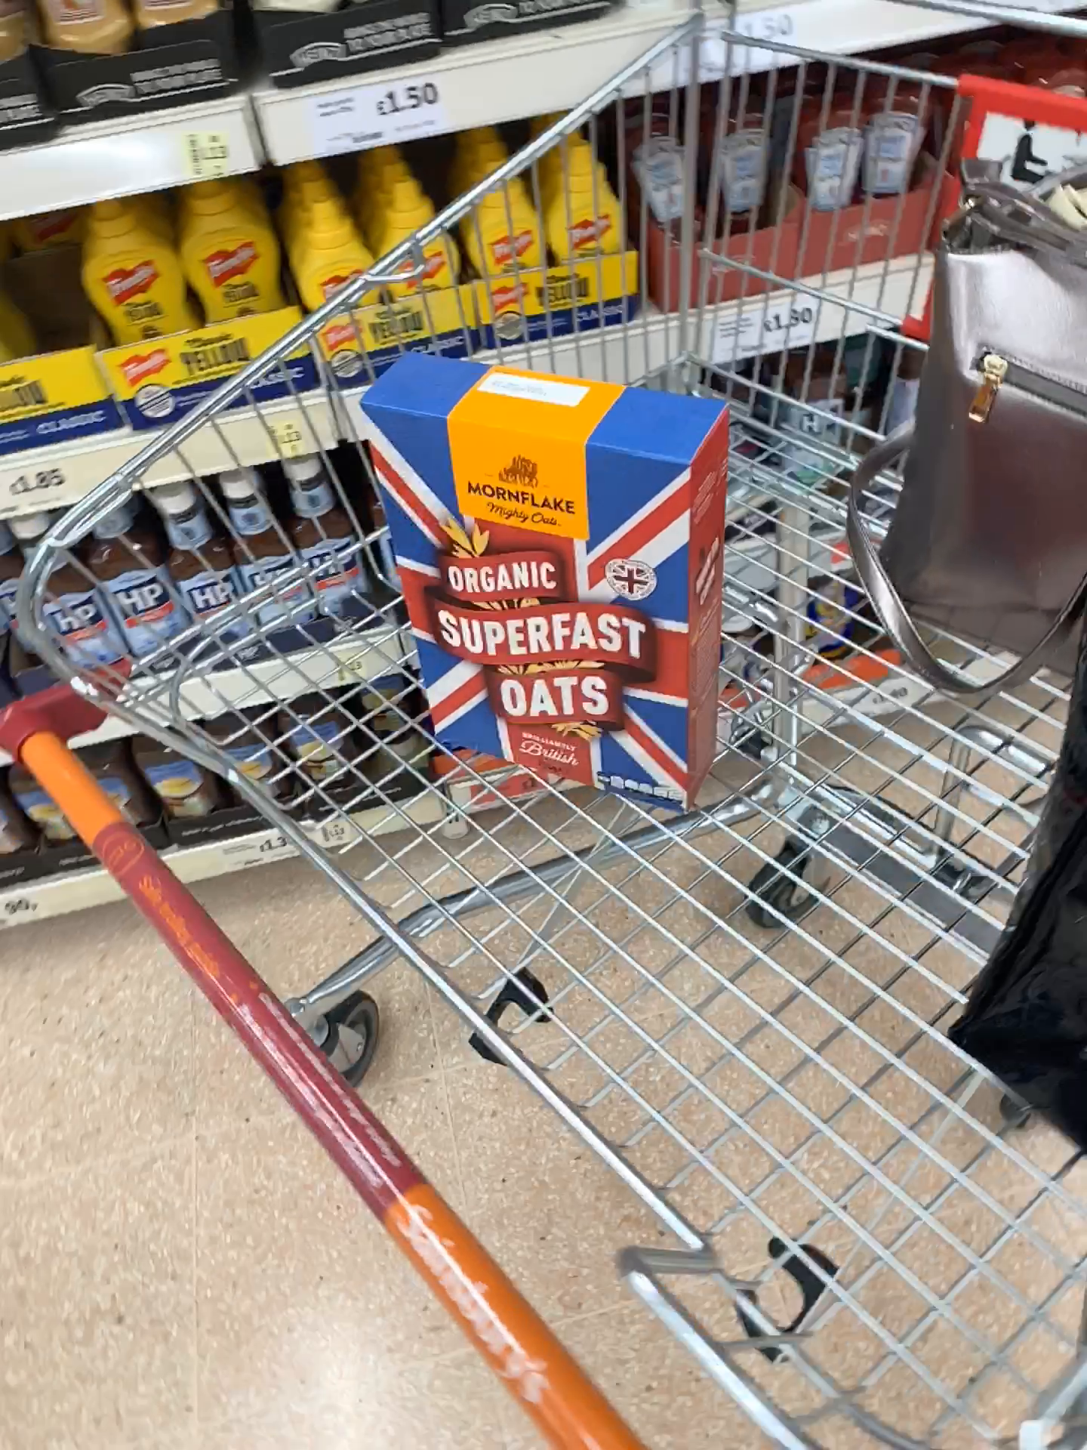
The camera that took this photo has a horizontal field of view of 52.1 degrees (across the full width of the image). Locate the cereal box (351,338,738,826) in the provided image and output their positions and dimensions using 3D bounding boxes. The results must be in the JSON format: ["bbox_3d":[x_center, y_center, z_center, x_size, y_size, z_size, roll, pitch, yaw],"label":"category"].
[{"bbox_3d":[0.008,-0.070,0.619,0.180,0.258,0.050,16,49,21],"label":"cereal box"}]
